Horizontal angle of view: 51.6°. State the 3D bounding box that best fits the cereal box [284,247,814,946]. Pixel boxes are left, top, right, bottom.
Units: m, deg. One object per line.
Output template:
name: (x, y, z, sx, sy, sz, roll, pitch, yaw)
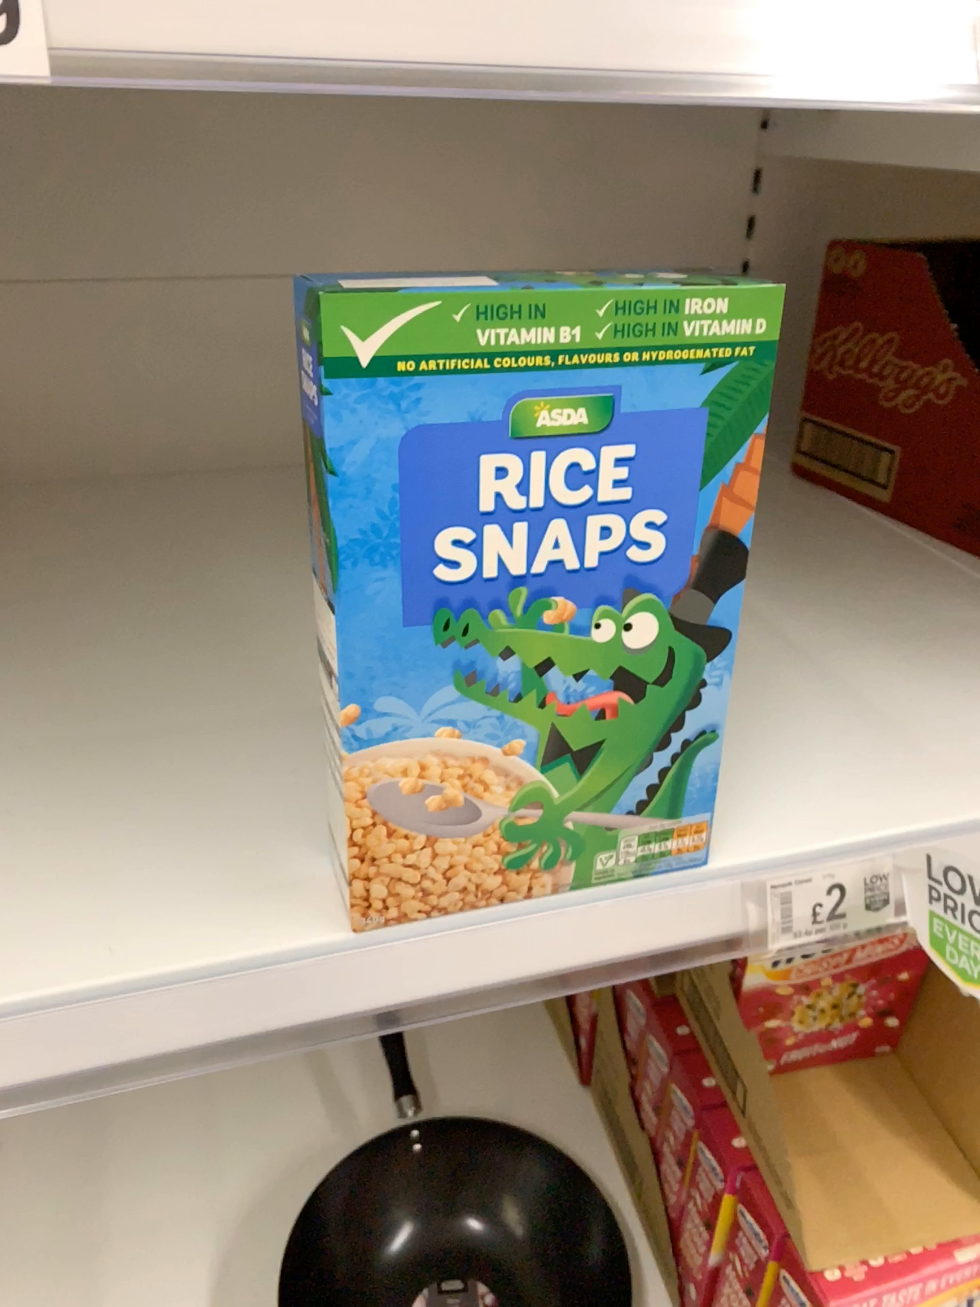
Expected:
cereal box: (0.019, -0.022, 0.453, 0.190, 0.287, 0.071, -7, 29, -17)
